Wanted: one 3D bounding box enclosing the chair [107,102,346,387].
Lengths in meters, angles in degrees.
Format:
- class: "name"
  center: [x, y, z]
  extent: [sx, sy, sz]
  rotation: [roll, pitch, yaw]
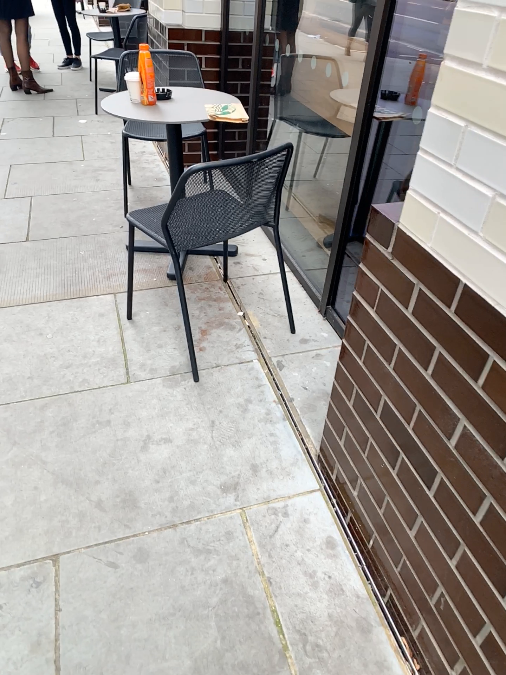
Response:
- class: "chair"
  center: [-0.126, -0.374, 1.942]
  extent: [0.592, 0.797, 0.544]
  rotation: [-21, 45, -32]
